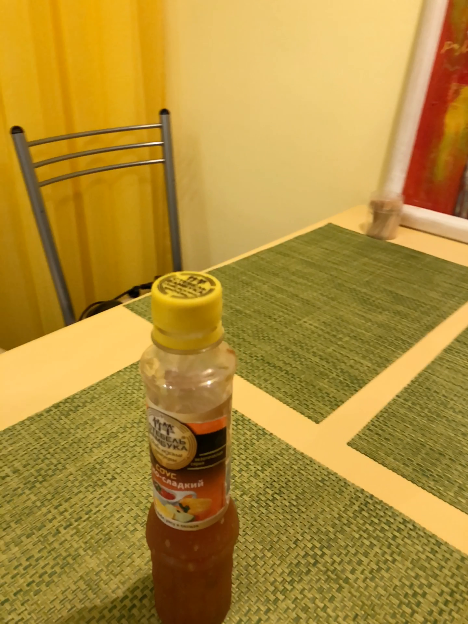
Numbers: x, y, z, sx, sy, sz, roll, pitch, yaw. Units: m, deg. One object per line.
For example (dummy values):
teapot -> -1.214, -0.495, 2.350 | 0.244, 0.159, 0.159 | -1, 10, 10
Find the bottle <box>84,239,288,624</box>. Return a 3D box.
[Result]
bottle -> -0.022, 0.076, 0.263 | 0.060, 0.209, 0.060 | 2, 29, -1
